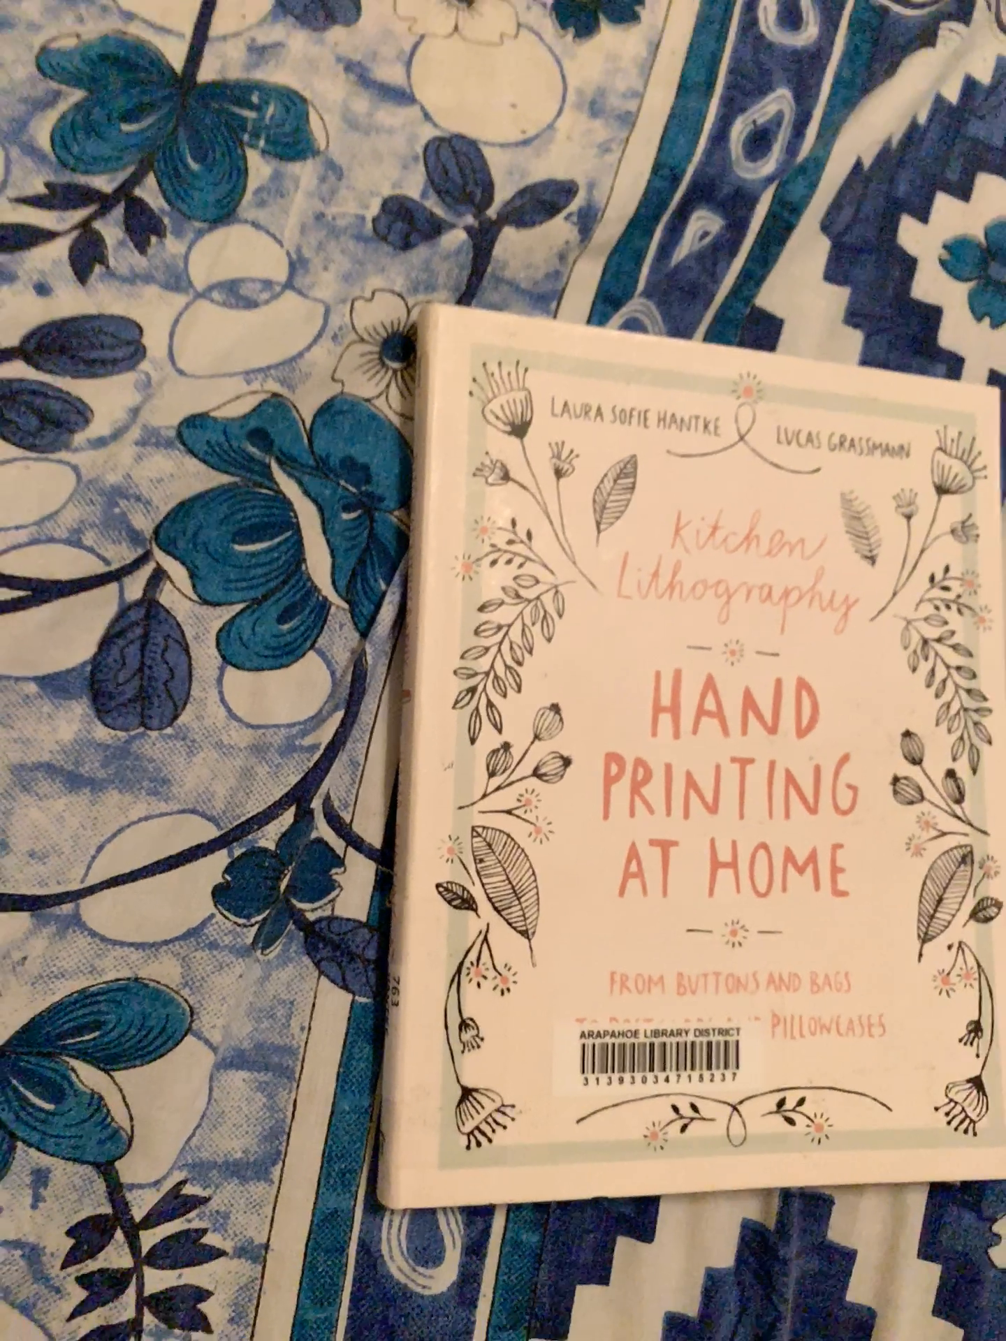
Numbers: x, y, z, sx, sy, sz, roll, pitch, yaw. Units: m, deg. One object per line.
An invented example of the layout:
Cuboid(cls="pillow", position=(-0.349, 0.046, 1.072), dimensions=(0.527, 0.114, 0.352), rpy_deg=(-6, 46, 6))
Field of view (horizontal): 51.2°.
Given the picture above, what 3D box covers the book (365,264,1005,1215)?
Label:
Cuboid(cls="book", position=(0.056, 0.016, 0.271), dimensions=(0.170, 0.020, 0.220), rpy_deg=(4, 81, -13))
